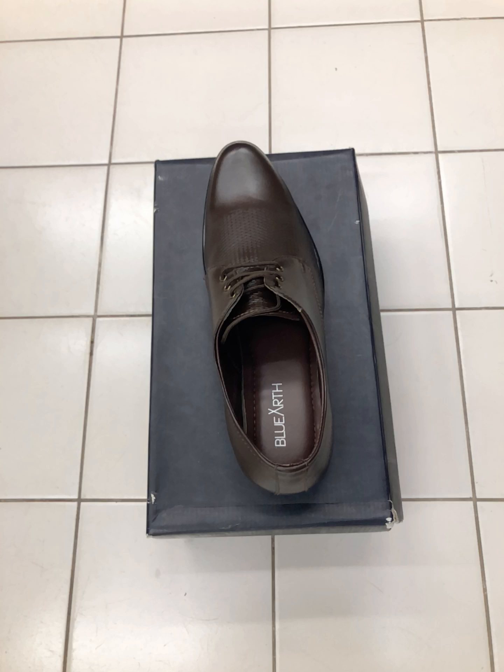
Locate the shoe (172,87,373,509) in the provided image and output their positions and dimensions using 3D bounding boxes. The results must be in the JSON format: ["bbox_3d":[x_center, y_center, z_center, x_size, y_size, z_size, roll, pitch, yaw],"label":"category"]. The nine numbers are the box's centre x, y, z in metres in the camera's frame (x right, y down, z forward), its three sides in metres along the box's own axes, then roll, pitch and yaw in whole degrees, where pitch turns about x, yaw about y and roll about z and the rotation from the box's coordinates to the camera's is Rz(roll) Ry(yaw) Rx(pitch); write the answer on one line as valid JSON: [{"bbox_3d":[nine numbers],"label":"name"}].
[{"bbox_3d":[0.009,-0.028,0.433,0.110,0.100,0.301,-6,73,2],"label":"shoe"}]
